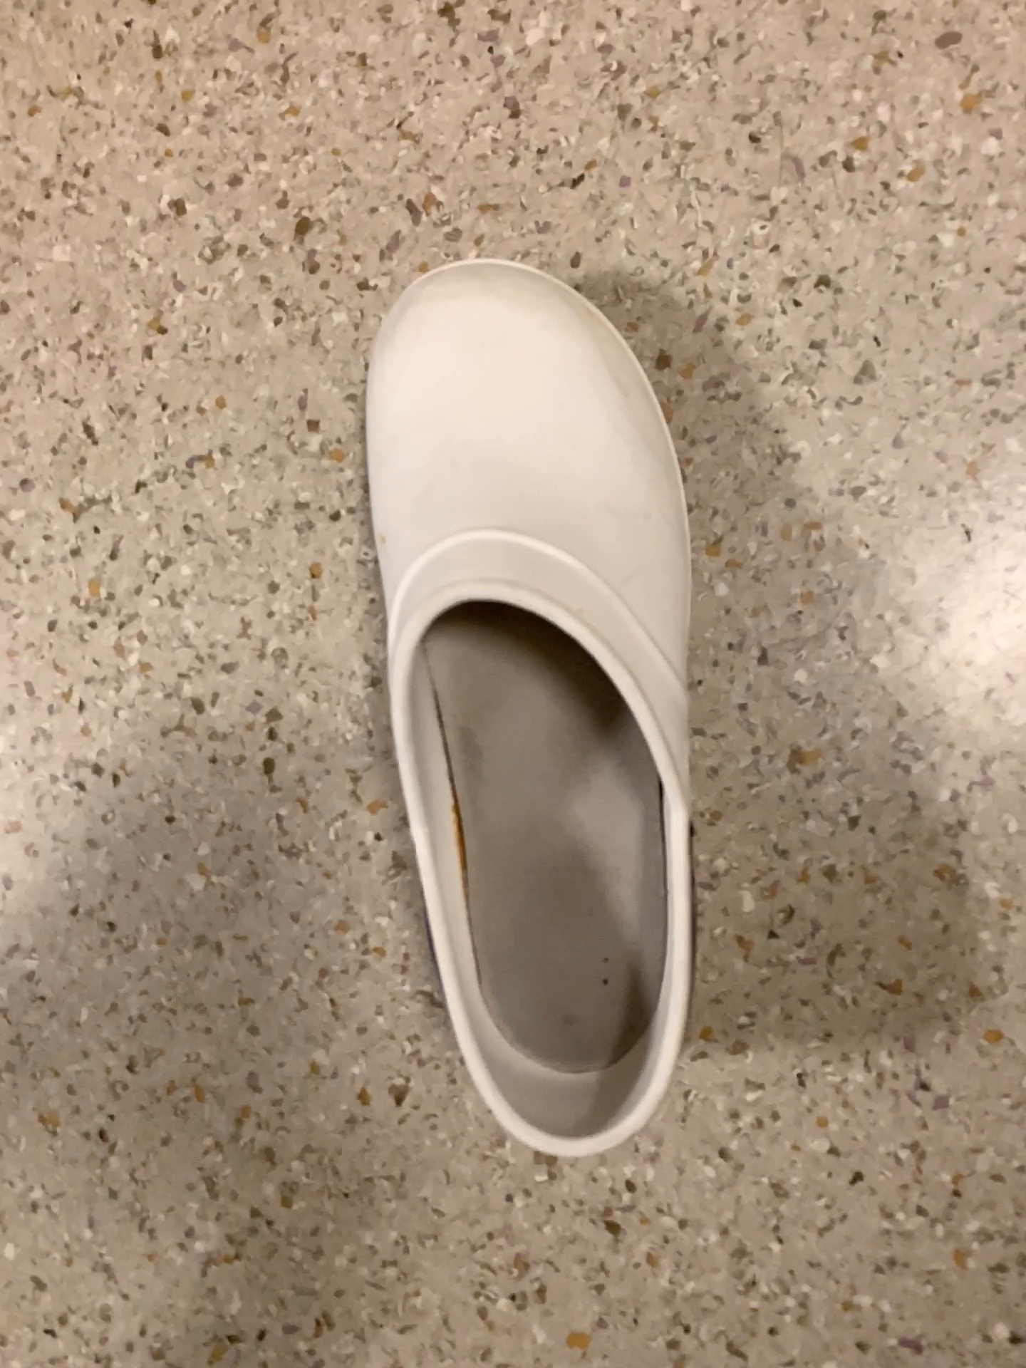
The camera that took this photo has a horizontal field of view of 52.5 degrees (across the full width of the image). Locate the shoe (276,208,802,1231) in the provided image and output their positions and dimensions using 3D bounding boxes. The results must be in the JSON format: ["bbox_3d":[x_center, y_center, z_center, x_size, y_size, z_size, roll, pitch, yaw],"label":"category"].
[{"bbox_3d":[0.012,0.012,0.320,0.107,0.102,0.254,-7,88,10],"label":"shoe"}]
